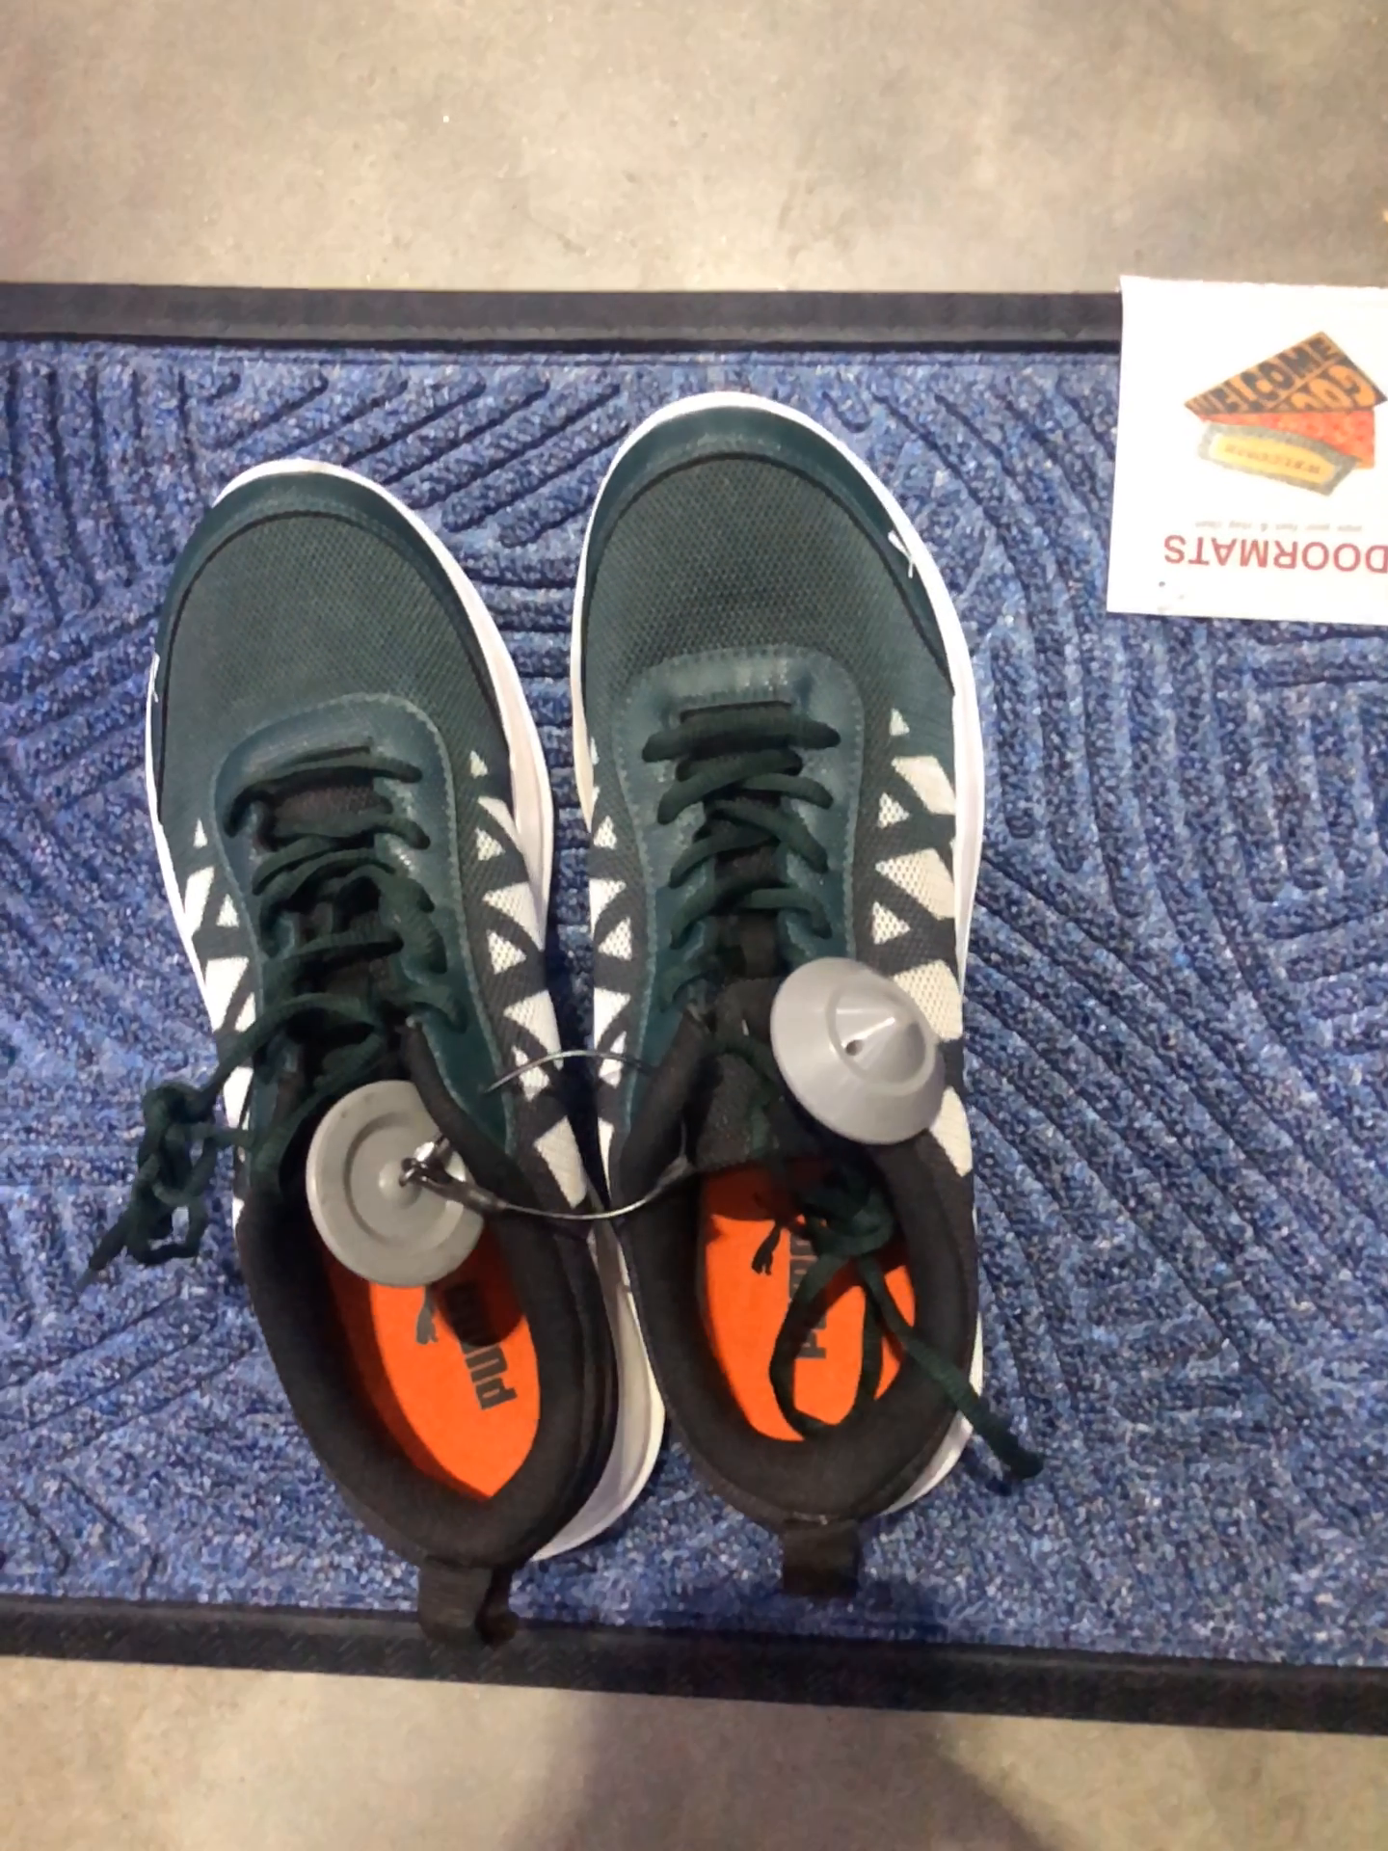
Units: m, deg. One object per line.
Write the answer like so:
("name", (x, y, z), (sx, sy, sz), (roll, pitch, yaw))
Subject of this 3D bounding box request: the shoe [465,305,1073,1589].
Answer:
("shoe", (0.017, 0.004, 0.385), (0.120, 0.060, 0.290), (-4, 86, 3))

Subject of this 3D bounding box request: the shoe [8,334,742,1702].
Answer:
("shoe", (-0.079, 0.020, 0.397), (0.110, 0.060, 0.310), (-14, 86, 3))
